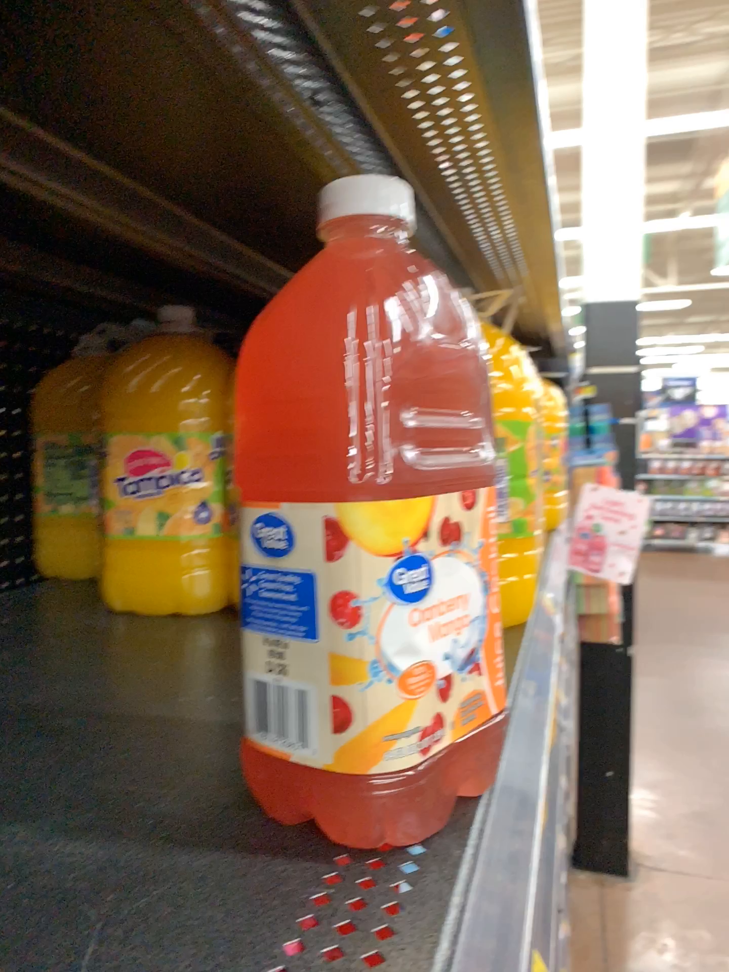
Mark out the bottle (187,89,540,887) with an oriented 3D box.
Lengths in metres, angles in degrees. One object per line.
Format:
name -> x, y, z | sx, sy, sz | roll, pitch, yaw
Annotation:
bottle -> 0.004, -0.001, 0.335 | 0.101, 0.272, 0.119 | 3, 5, 38
